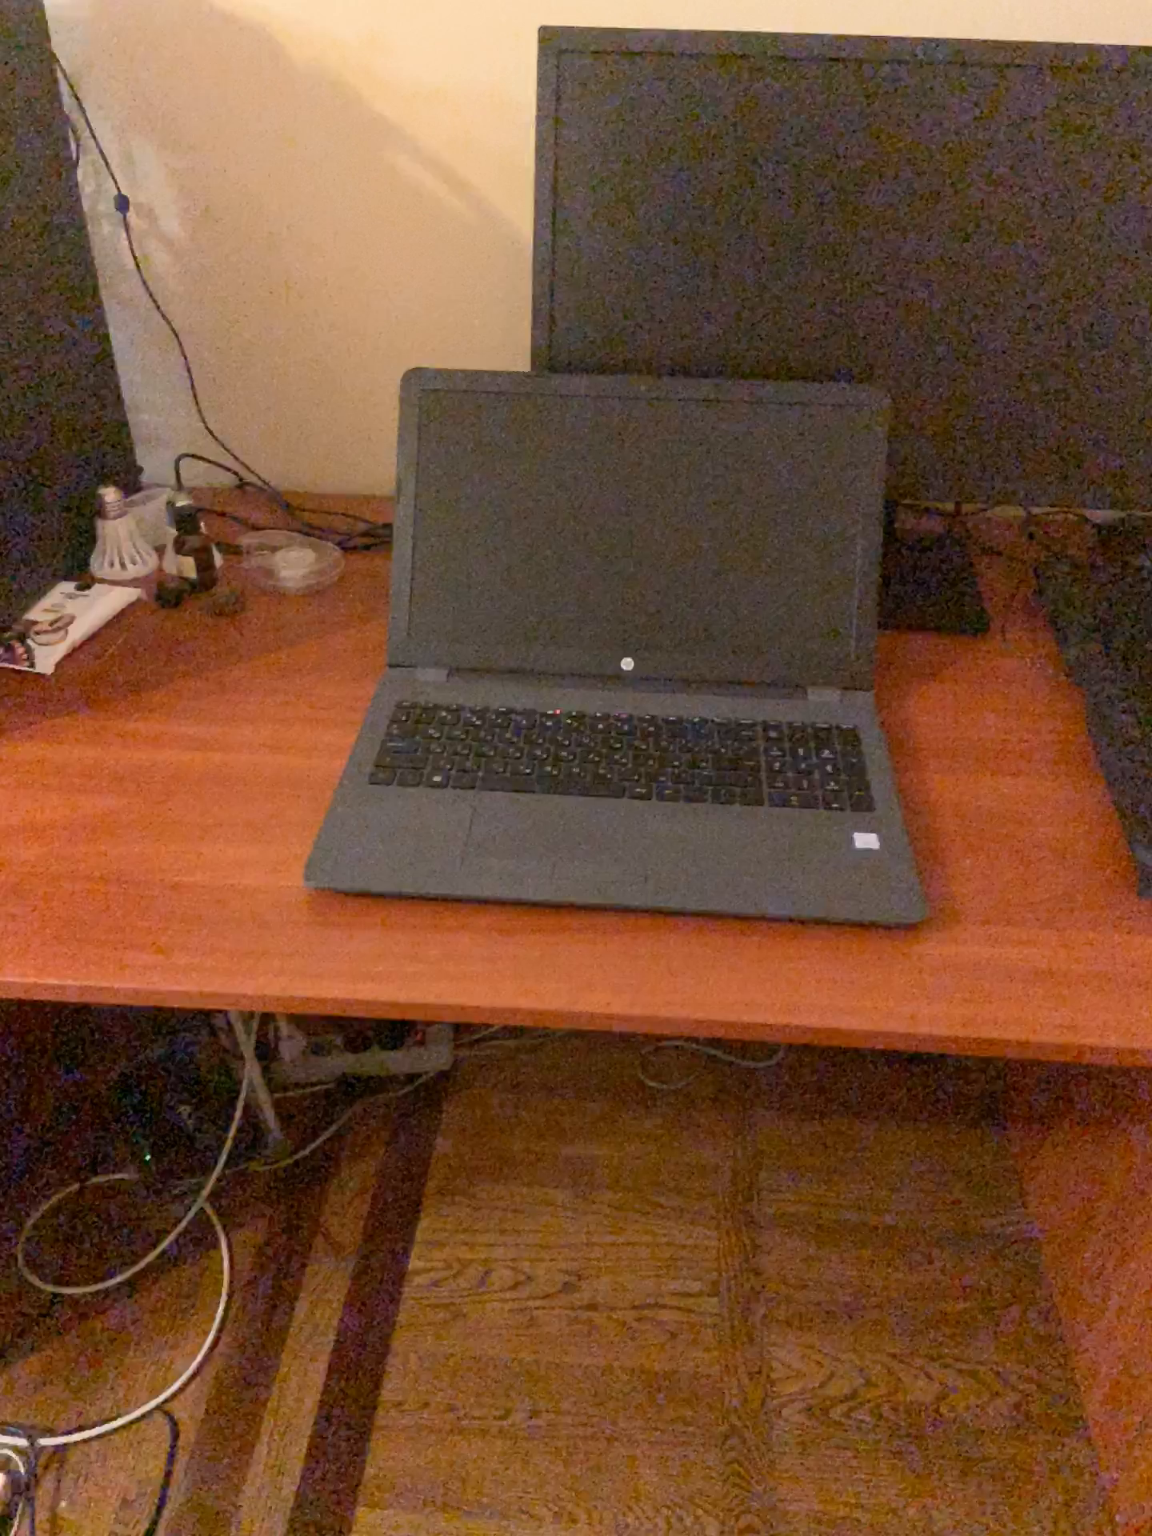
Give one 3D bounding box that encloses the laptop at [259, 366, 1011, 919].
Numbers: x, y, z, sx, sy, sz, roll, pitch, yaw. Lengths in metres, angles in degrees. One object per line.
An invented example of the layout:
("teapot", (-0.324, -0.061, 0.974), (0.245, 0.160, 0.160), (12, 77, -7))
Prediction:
("laptop", (0.038, -0.112, 0.791), (0.372, 0.188, 0.394), (3, 35, 2))
